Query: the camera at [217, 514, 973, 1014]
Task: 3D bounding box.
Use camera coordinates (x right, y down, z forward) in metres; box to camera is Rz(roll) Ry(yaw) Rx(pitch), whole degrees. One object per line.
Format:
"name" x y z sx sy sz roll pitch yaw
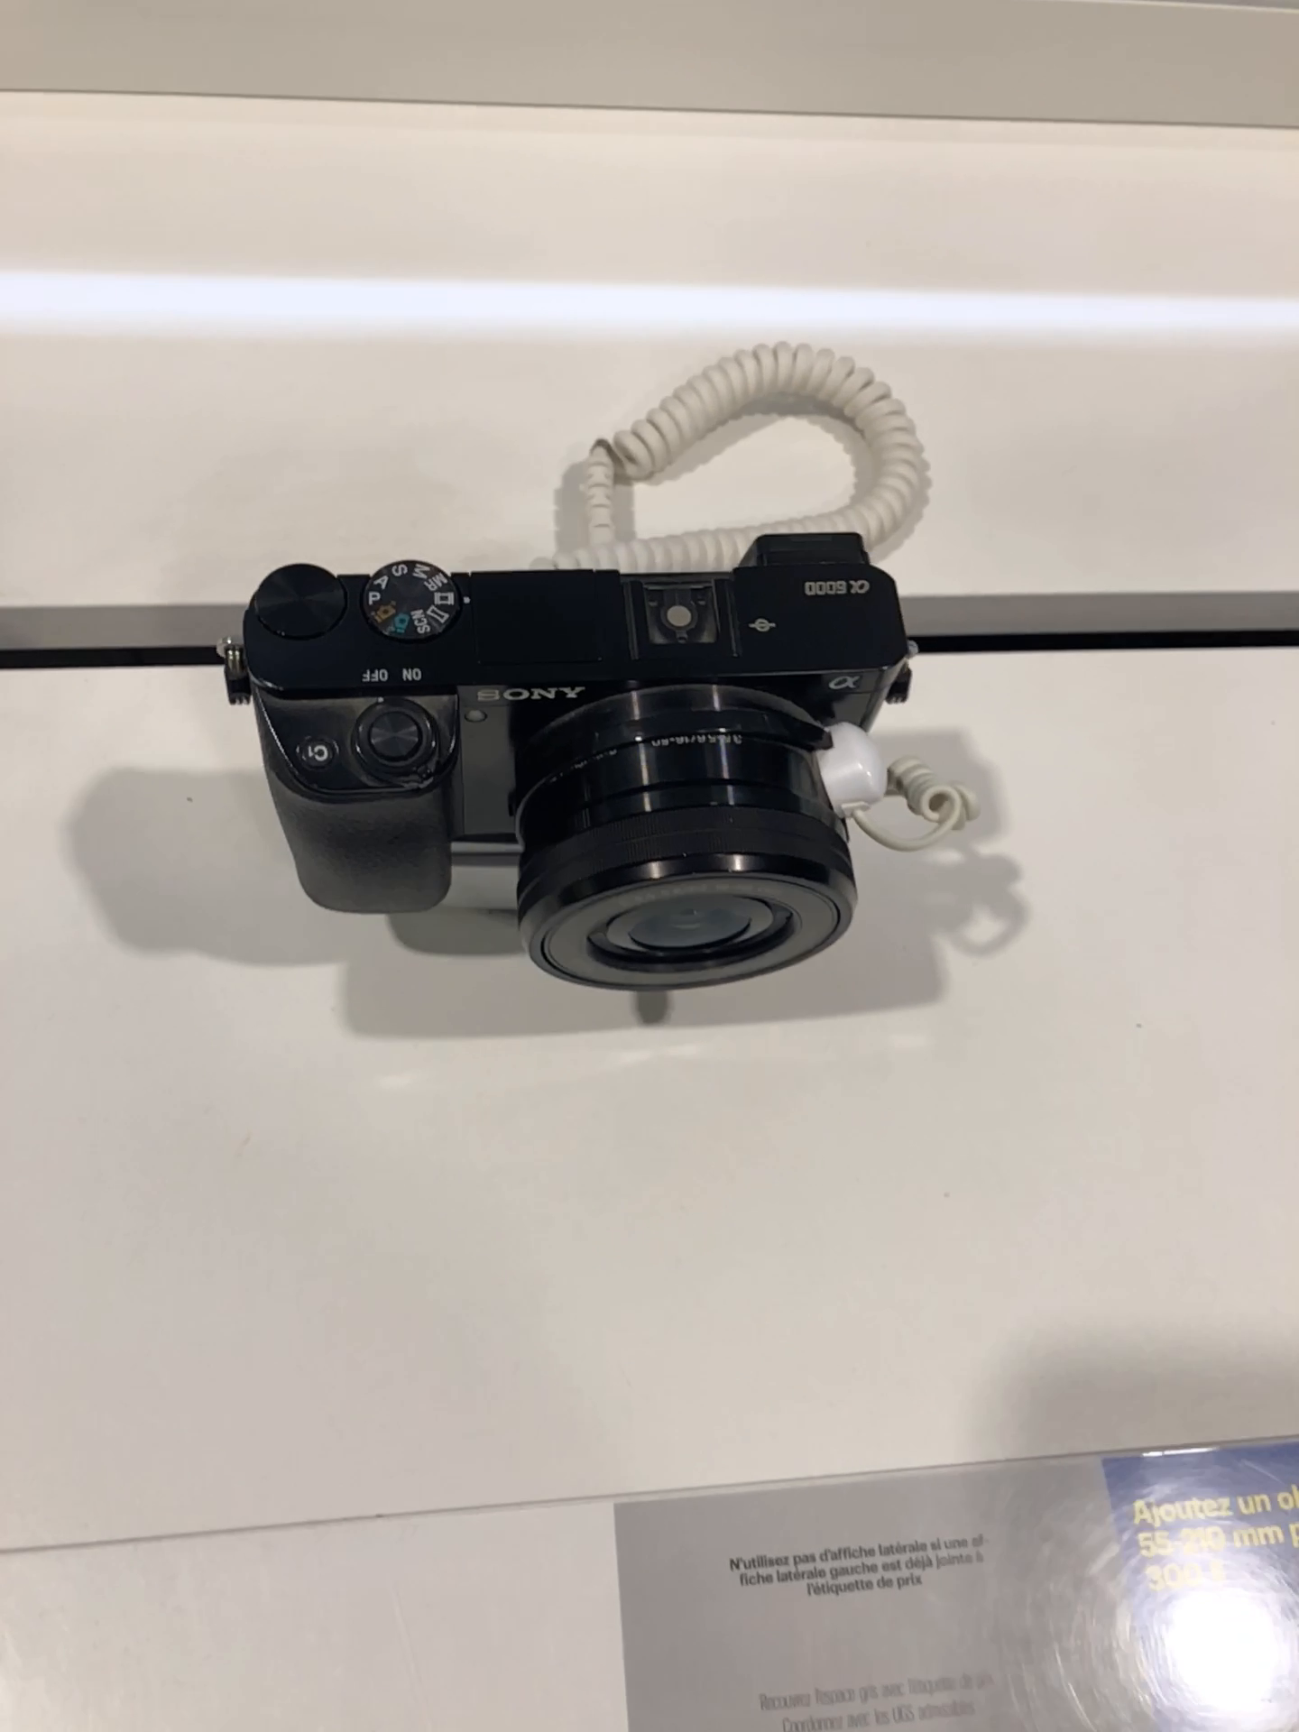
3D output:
"camera" -0.014 -0.019 0.296 0.130 0.077 0.065 -4 64 -7
